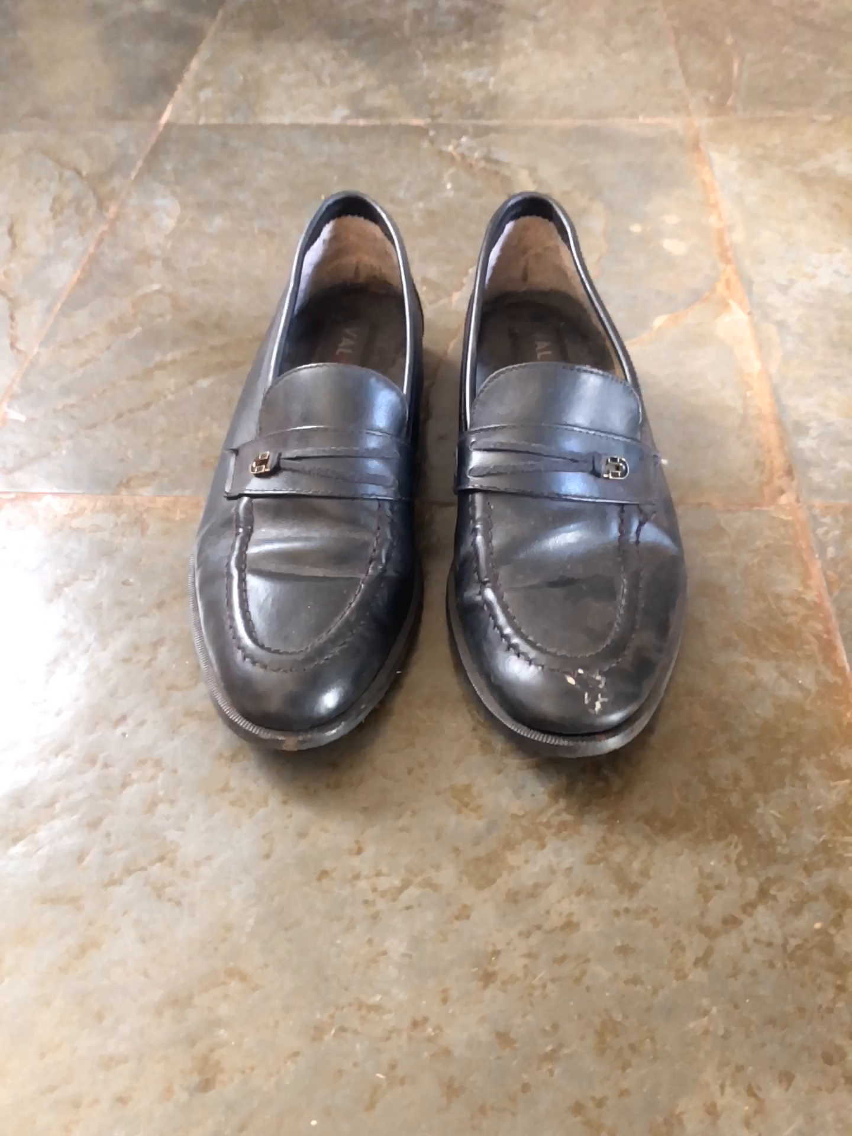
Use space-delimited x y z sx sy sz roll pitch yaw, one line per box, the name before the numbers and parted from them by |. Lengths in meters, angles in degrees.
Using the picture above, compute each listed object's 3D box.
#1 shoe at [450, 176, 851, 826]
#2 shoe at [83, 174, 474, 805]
shoe | 0.063 -0.043 0.373 0.100 0.099 0.262 -2 48 1
shoe | -0.035 -0.049 0.382 0.100 0.099 0.262 1 48 4
